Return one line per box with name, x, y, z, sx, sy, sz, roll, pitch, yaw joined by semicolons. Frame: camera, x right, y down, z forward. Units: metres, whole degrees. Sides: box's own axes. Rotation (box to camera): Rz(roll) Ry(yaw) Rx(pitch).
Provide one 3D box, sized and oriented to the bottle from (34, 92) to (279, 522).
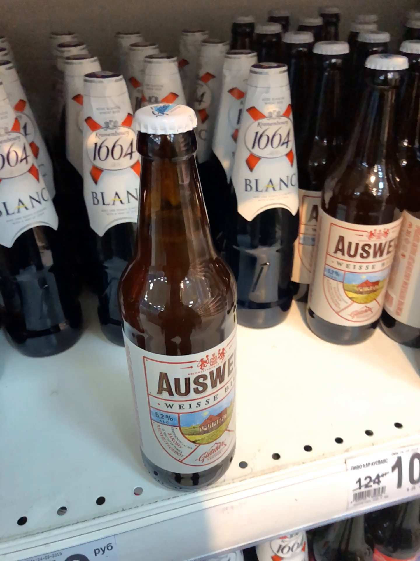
bottle;-0.021;0.025;0.267;0.080;0.229;0.070;-27;42;-32
